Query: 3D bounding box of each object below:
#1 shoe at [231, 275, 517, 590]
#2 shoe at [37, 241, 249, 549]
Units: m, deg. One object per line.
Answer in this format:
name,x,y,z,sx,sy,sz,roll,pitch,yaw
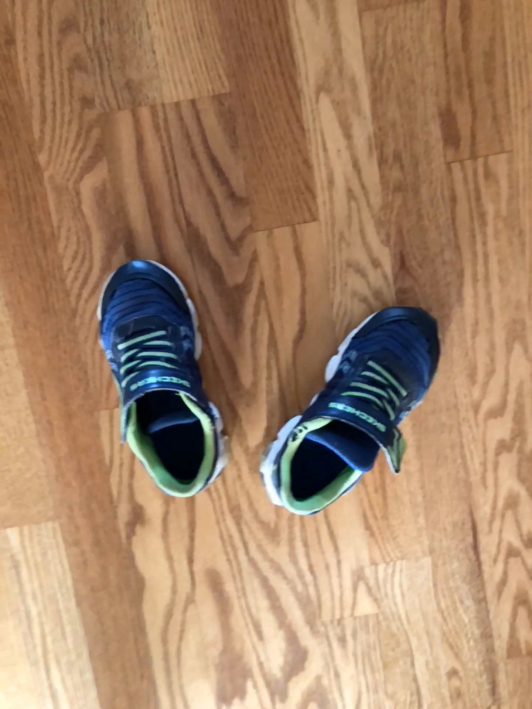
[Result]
shoe,0.073,0.053,0.452,0.093,0.087,0.212,35,97,-5
shoe,-0.085,0.026,0.452,0.093,0.095,0.203,-14,99,2
